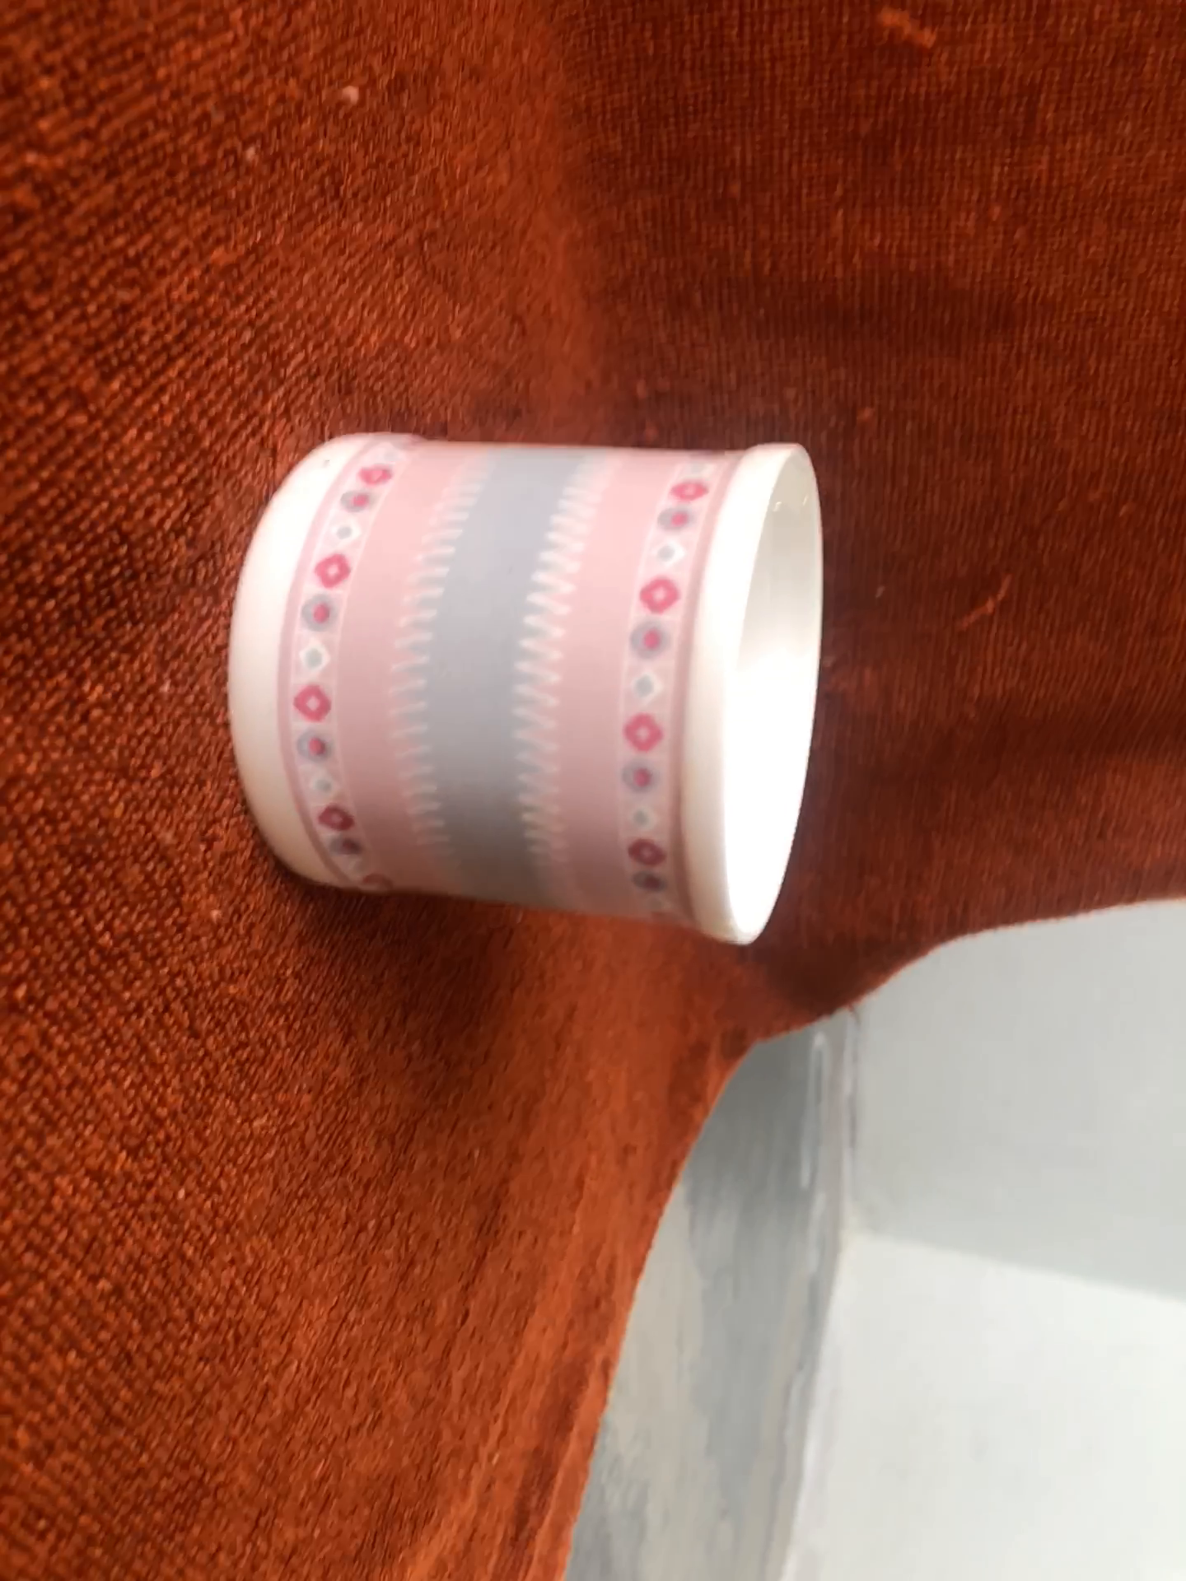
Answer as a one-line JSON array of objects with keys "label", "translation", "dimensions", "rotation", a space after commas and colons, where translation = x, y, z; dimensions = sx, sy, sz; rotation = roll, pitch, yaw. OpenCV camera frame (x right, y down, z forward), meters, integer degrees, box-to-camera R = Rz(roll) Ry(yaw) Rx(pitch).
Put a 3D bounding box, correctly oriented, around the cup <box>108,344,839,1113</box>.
[{"label": "cup", "translation": [-0.005, -0.005, 0.189], "dimensions": [0.090, 0.070, 0.060], "rotation": [75, 27, -54]}]
